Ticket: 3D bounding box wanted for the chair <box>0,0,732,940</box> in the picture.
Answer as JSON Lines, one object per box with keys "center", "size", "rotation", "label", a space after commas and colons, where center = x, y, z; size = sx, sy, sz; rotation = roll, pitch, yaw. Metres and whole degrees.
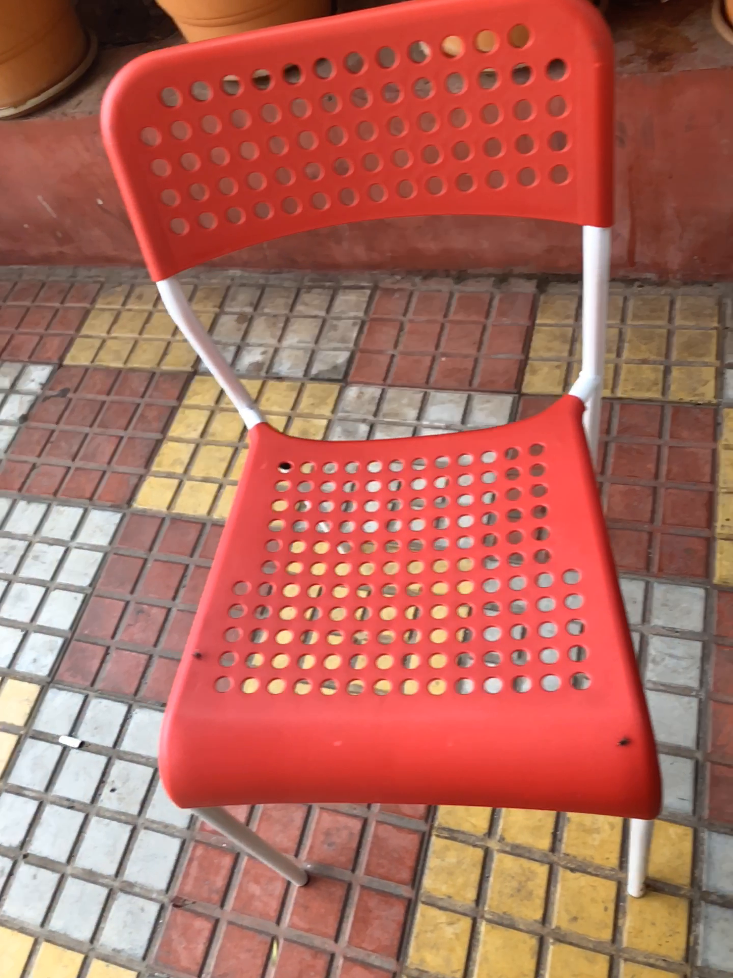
{"center": [0.027, 0.051, 0.721], "size": [0.450, 0.697, 0.542], "rotation": [-3, 57, 13], "label": "chair"}
